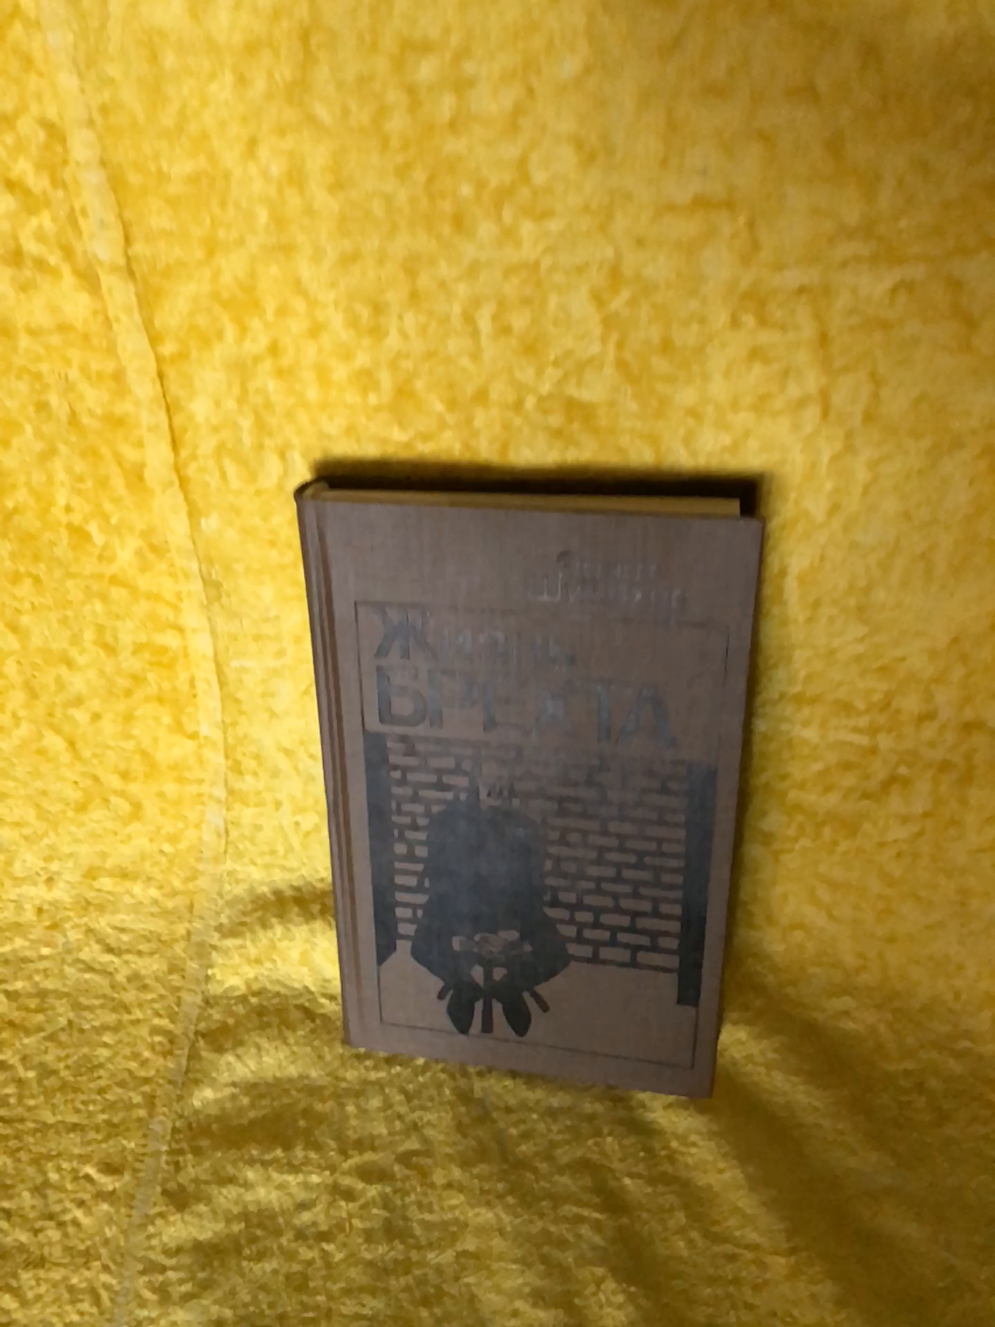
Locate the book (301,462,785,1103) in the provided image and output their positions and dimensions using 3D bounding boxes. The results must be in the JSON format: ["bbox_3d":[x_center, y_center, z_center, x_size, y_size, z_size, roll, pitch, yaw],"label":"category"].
[{"bbox_3d":[0.012,0.042,0.348,0.130,0.200,0.033,5,25,10],"label":"book"}]
